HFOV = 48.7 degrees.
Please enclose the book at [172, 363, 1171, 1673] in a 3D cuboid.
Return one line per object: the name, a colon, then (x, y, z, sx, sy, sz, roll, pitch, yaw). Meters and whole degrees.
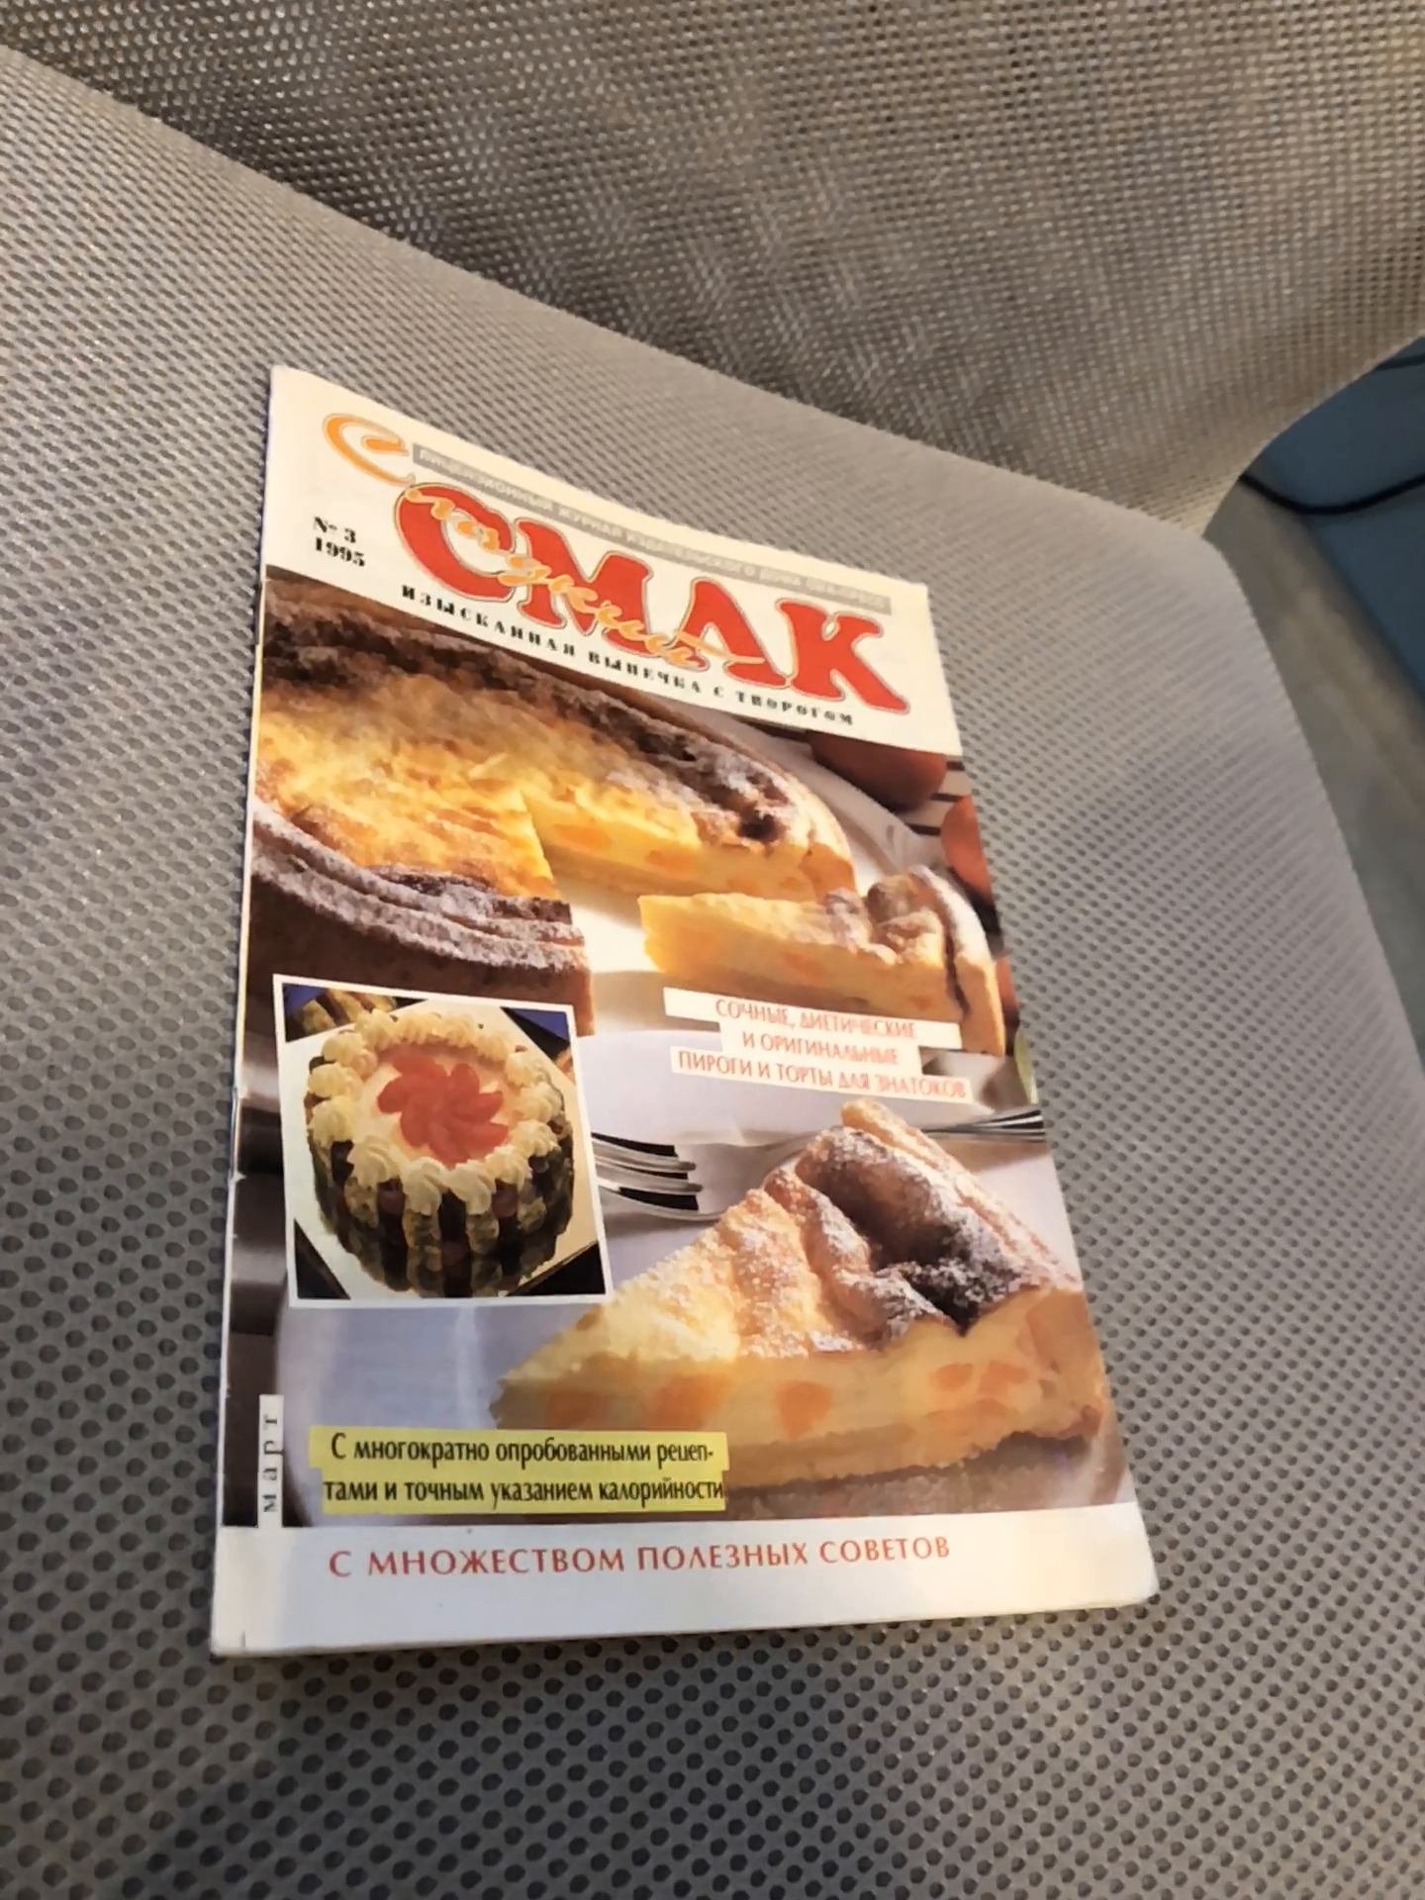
book: (-0.004, 0.004, 0.300, 0.174, 0.010, 0.231, 10, 60, -28)
